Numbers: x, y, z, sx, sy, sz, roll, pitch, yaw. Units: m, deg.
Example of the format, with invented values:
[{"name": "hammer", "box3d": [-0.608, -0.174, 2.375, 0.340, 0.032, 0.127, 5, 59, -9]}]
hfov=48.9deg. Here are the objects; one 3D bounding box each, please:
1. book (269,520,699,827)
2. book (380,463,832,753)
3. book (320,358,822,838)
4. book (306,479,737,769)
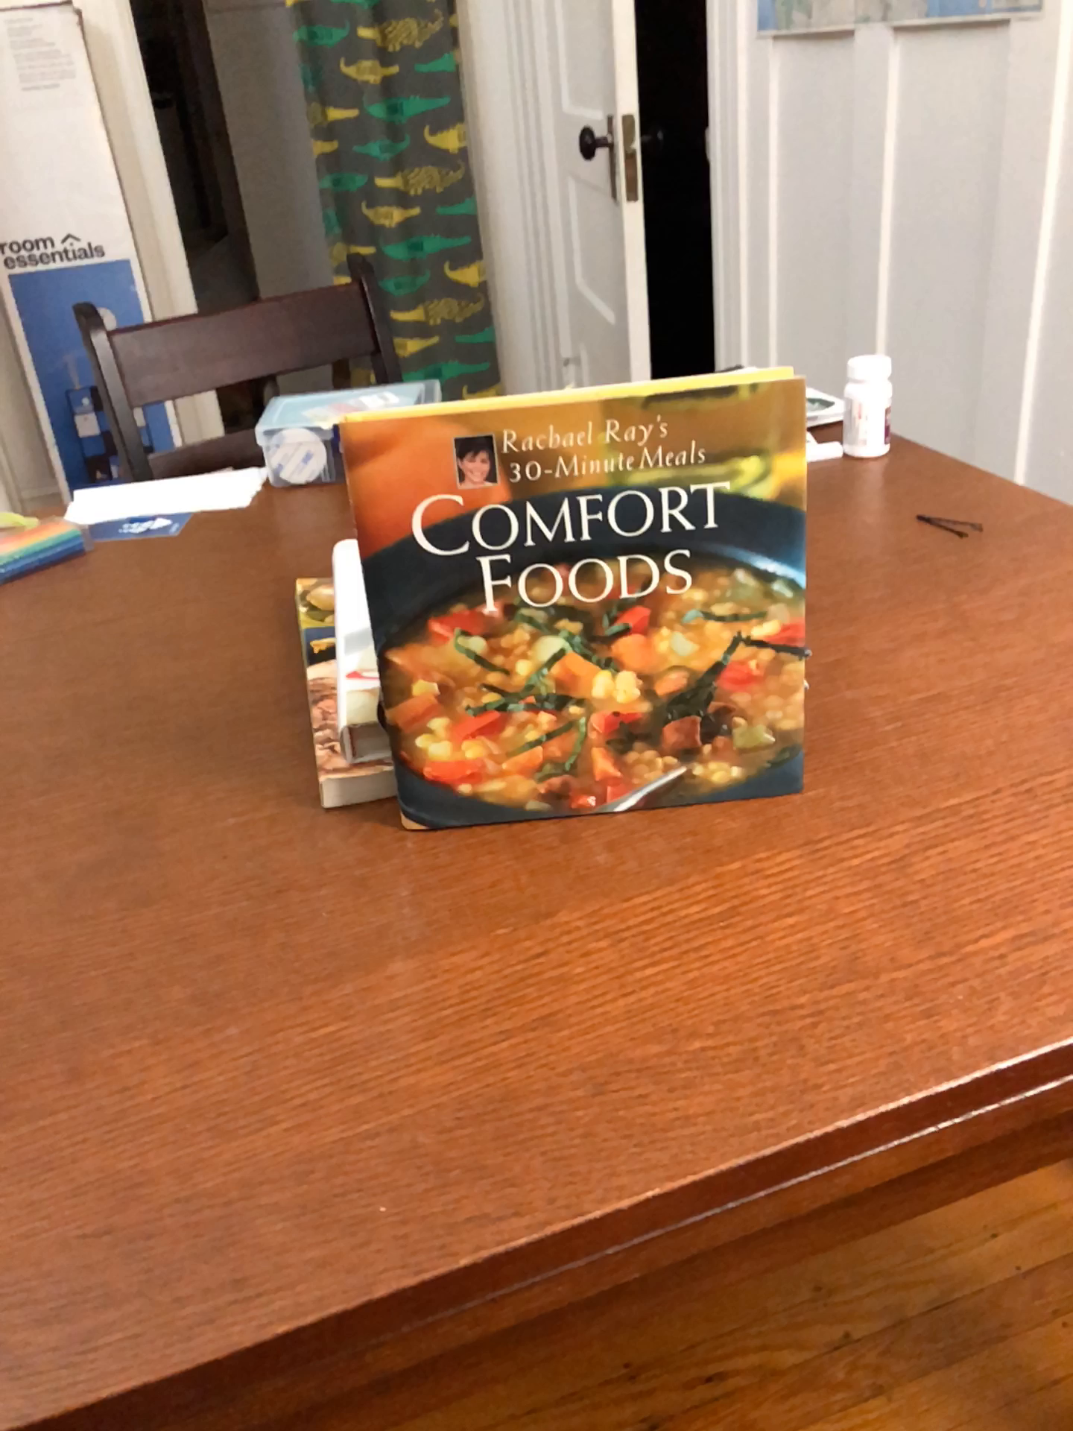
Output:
[{"name": "book", "box3d": [-0.051, -0.043, 0.737, 0.220, 0.030, 0.282, -11, 31, -8]}, {"name": "book", "box3d": [0.023, -0.078, 0.698, 0.220, 0.030, 0.282, -7, 30, -2]}, {"name": "book", "box3d": [0.021, -0.048, 0.552, 0.210, 0.209, 0.030, -5, 26, 0]}, {"name": "book", "box3d": [-0.028, -0.072, 0.728, 0.220, 0.030, 0.282, -10, 30, -6]}]
